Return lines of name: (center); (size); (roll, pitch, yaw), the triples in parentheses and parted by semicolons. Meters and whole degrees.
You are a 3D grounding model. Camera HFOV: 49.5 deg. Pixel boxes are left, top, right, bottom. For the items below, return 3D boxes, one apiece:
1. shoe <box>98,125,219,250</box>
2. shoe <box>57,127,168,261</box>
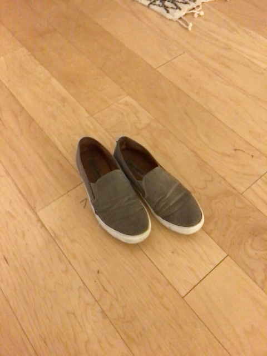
shoe: (0.045, 0.010, 0.646); (0.110, 0.050, 0.281); (-32, 64, -18)
shoe: (-0.053, 0.022, 0.633); (0.120, 0.050, 0.281); (-26, 62, -15)
